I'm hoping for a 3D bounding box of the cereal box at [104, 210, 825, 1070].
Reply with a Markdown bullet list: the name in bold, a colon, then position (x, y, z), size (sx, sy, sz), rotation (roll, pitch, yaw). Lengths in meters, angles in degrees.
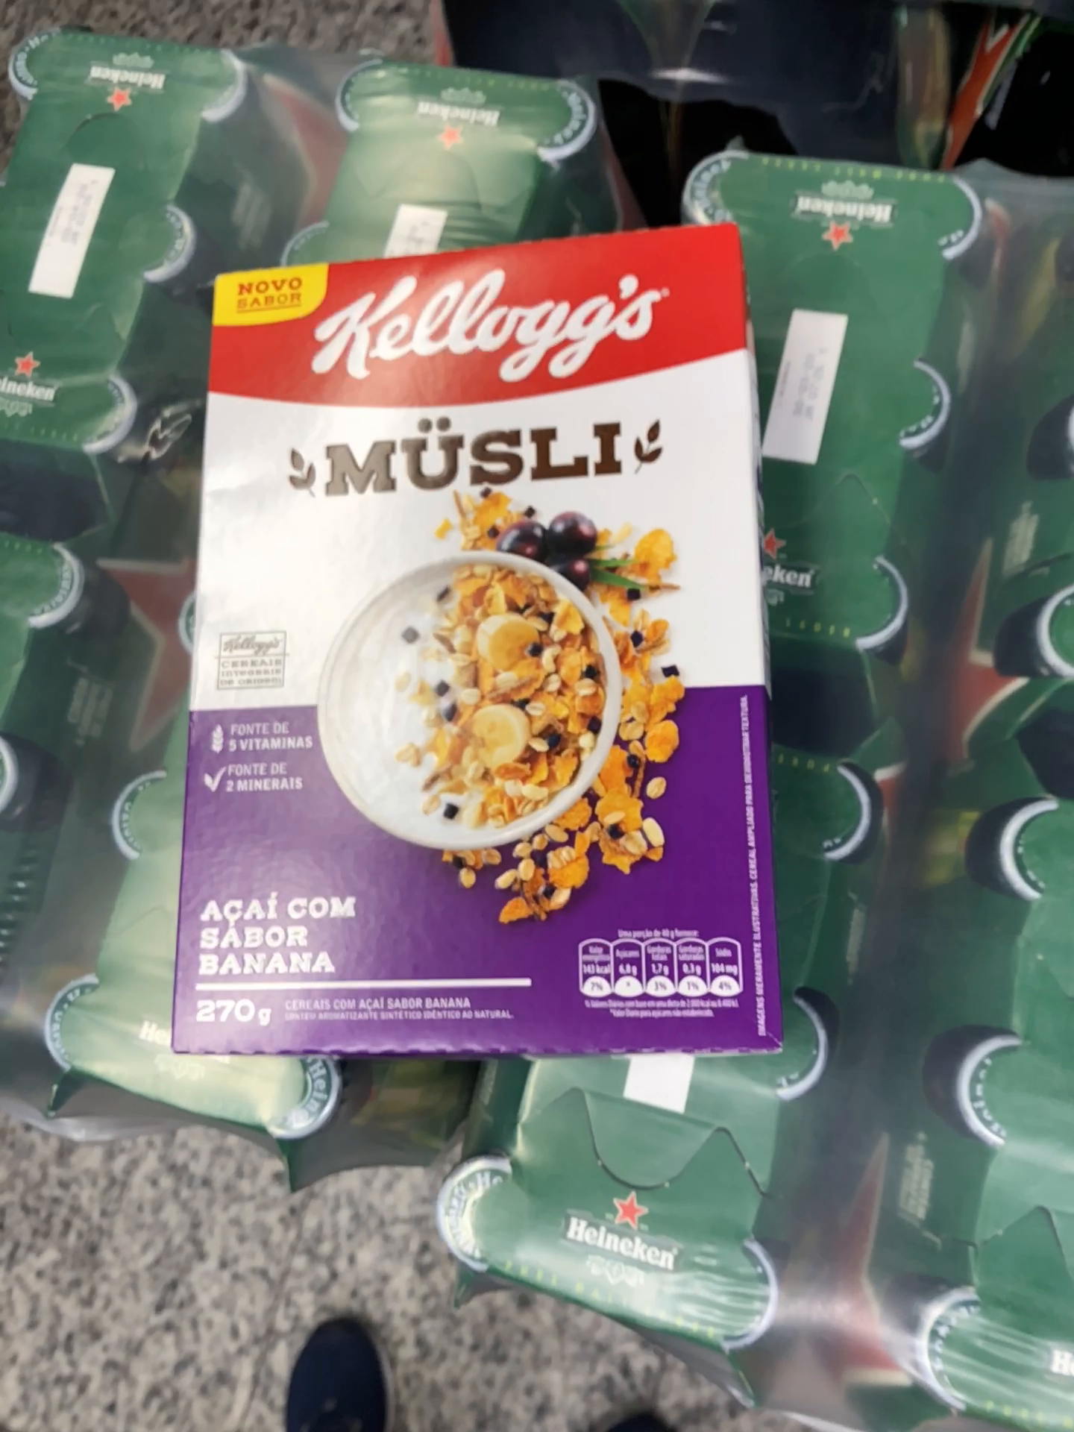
- **cereal box**: position (-0.016, -0.016, 0.285), size (0.150, 0.040, 0.190), rotation (-3, 77, 8)
